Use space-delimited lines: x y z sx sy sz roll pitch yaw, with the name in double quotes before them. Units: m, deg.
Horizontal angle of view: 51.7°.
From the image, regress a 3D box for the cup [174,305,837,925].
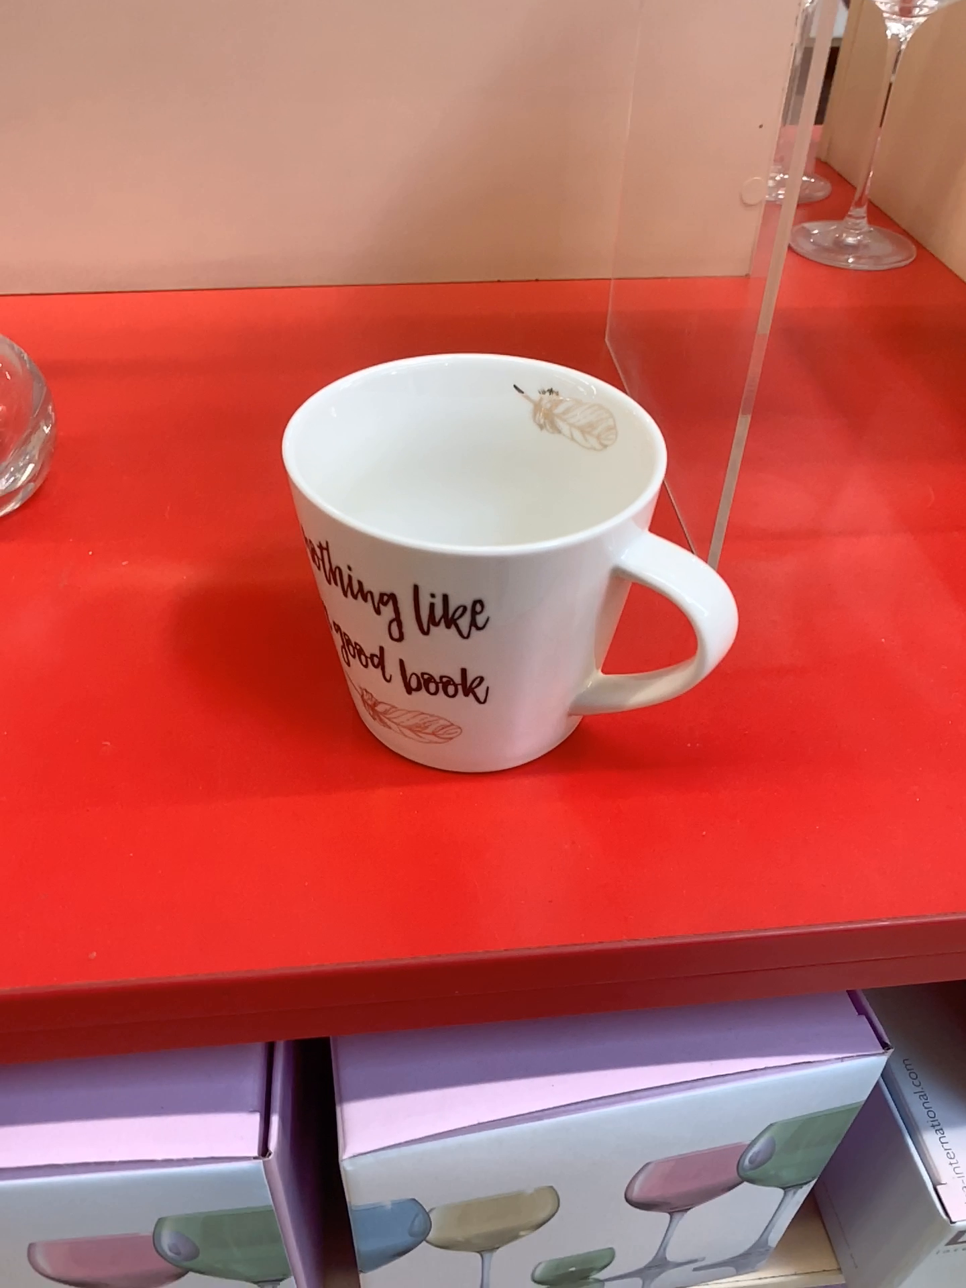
"cup" 0.004 -0.016 0.267 0.130 0.090 0.090 27 47 27
